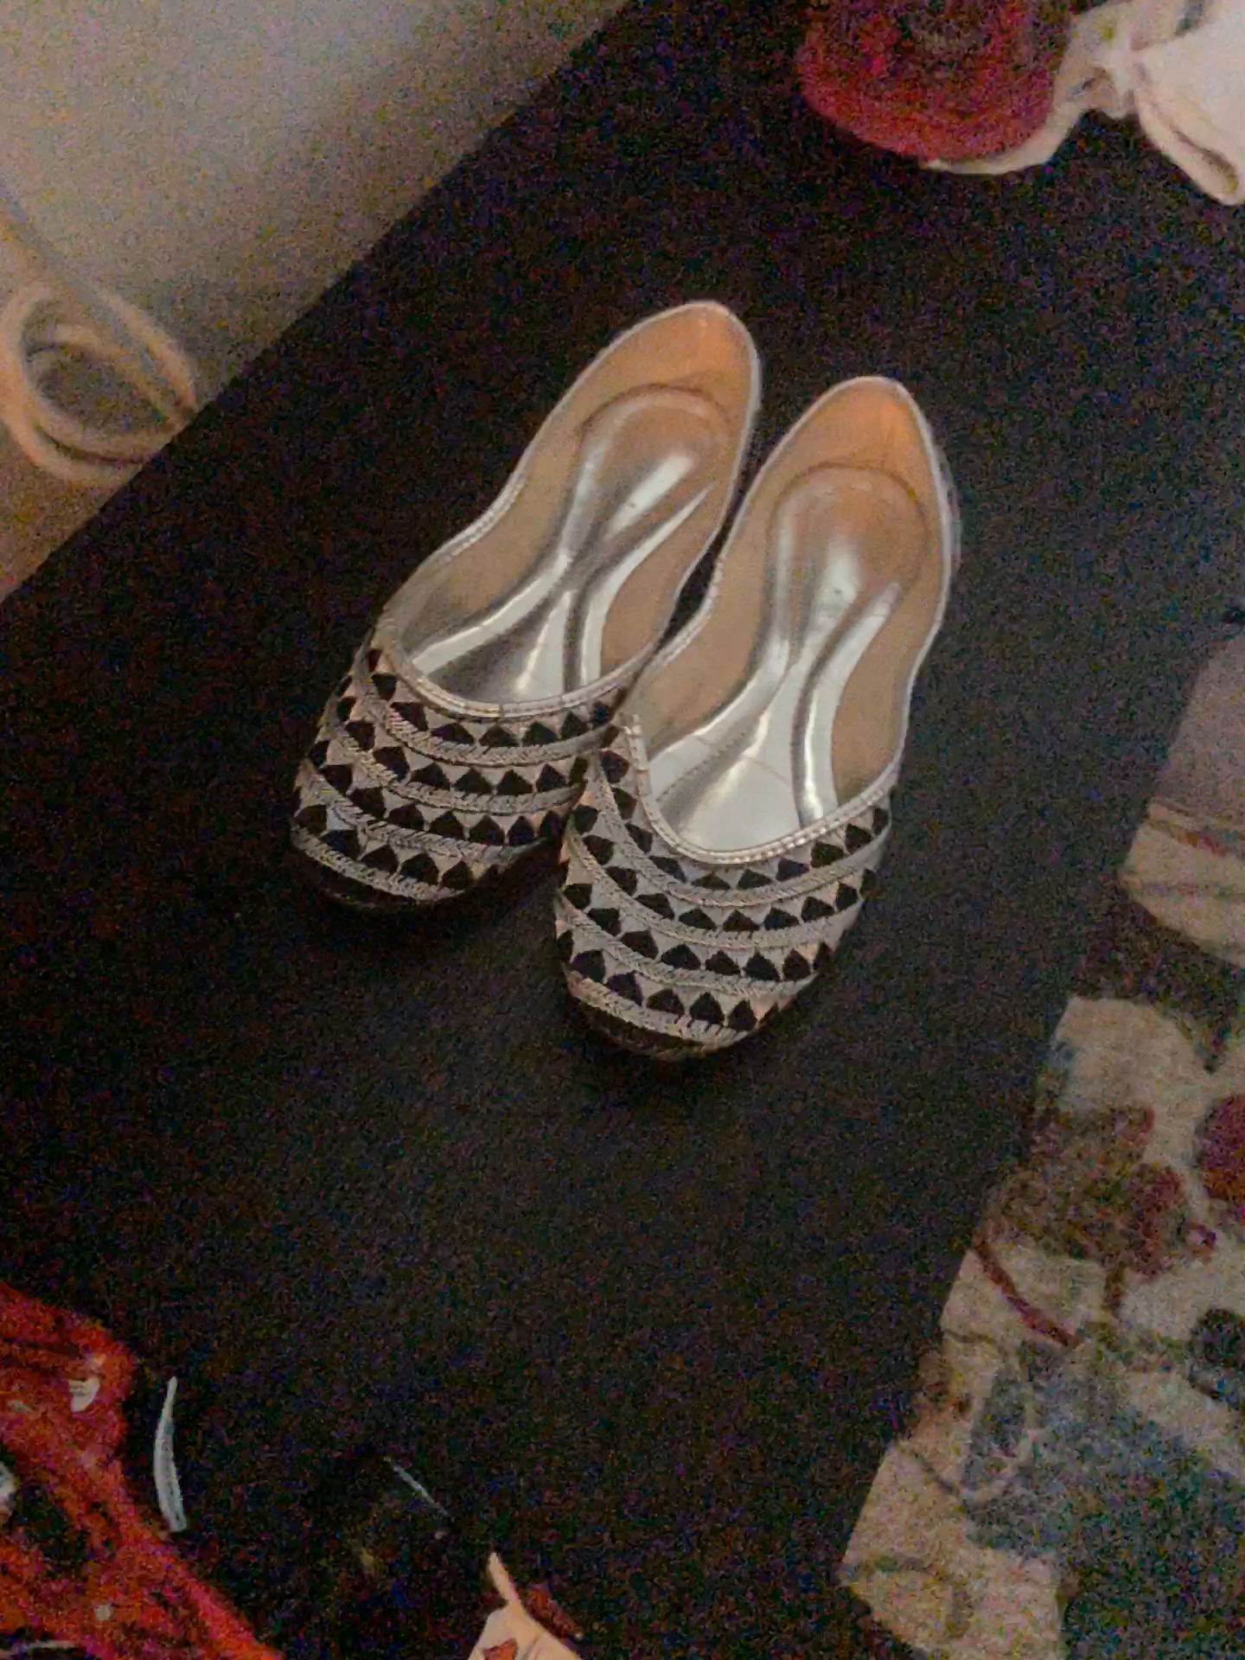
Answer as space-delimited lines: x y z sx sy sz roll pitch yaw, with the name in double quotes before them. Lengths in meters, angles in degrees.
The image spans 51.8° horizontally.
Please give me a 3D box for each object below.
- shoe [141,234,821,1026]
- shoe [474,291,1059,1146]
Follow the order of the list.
"shoe" -0.033 -0.082 0.449 0.100 0.079 0.272 24 62 11
"shoe" 0.054 -0.048 0.414 0.100 0.079 0.262 19 61 8
